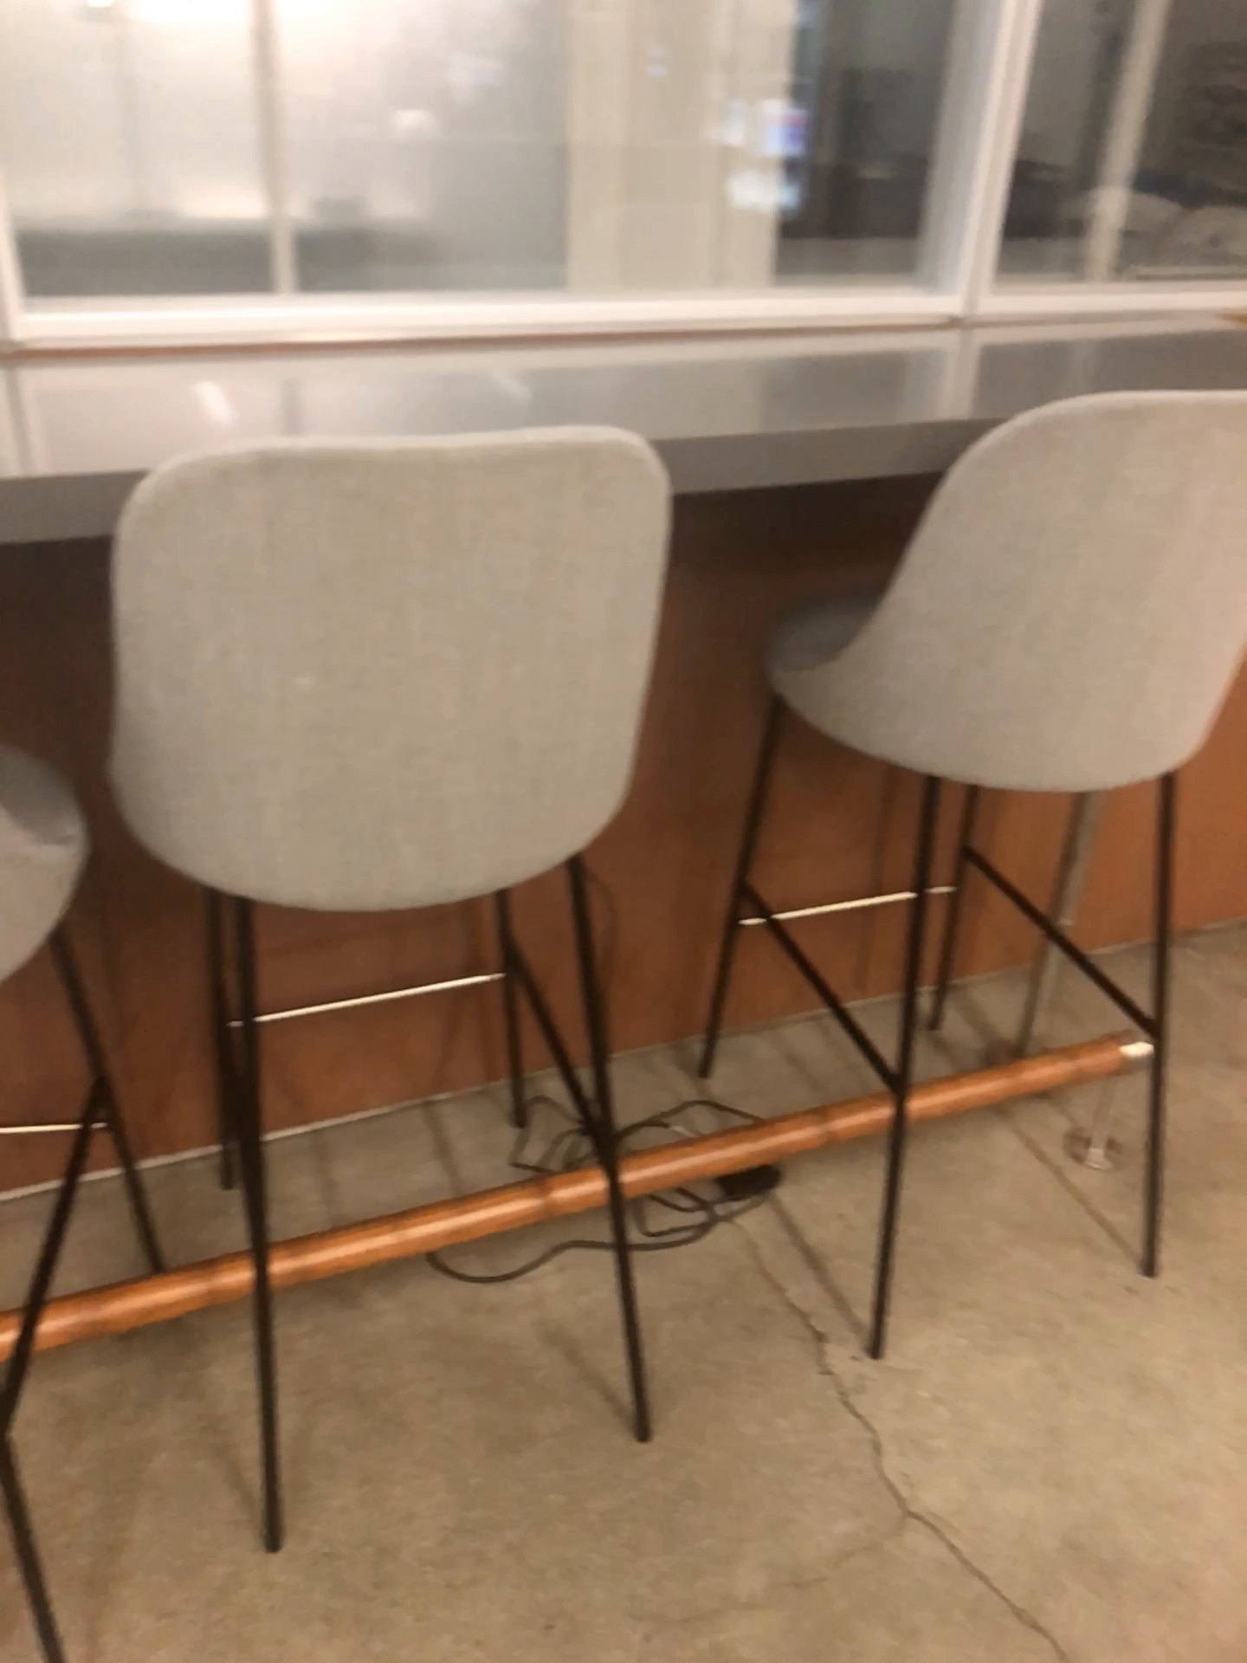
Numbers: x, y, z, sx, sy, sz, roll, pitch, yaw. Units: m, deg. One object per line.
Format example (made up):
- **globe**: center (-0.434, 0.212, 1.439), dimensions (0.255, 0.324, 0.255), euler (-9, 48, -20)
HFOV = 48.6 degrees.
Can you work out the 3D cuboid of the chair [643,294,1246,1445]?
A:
- **chair**: center (0.384, 0.037, 1.655), dimensions (0.491, 1.180, 0.594), euler (-8, 32, -18)
